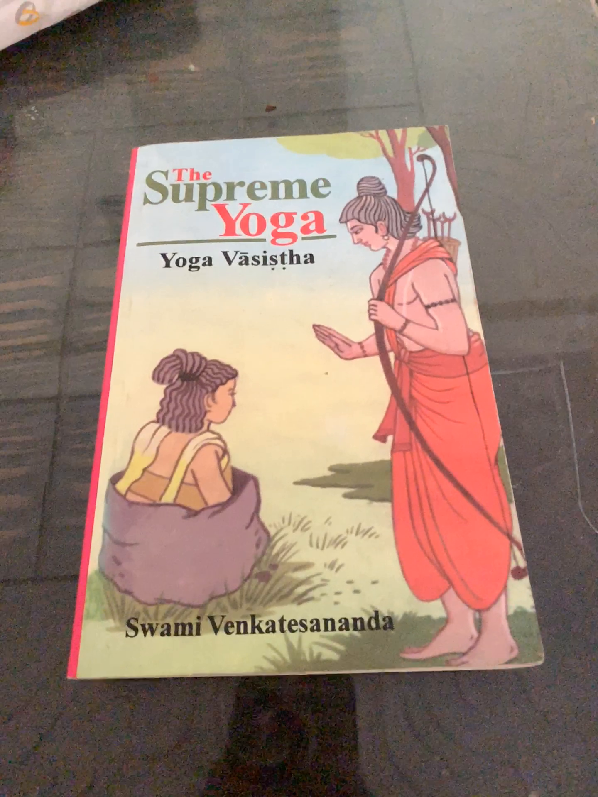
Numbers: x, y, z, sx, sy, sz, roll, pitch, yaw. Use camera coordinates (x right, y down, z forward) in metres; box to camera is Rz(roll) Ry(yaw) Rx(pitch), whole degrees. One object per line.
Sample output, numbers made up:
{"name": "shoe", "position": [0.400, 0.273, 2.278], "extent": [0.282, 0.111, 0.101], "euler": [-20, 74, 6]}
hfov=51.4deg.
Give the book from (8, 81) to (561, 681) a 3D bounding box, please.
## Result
{"name": "book", "position": [-0.007, -0.020, 0.216], "extent": [0.140, 0.030, 0.211], "euler": [-3, 64, 3]}
